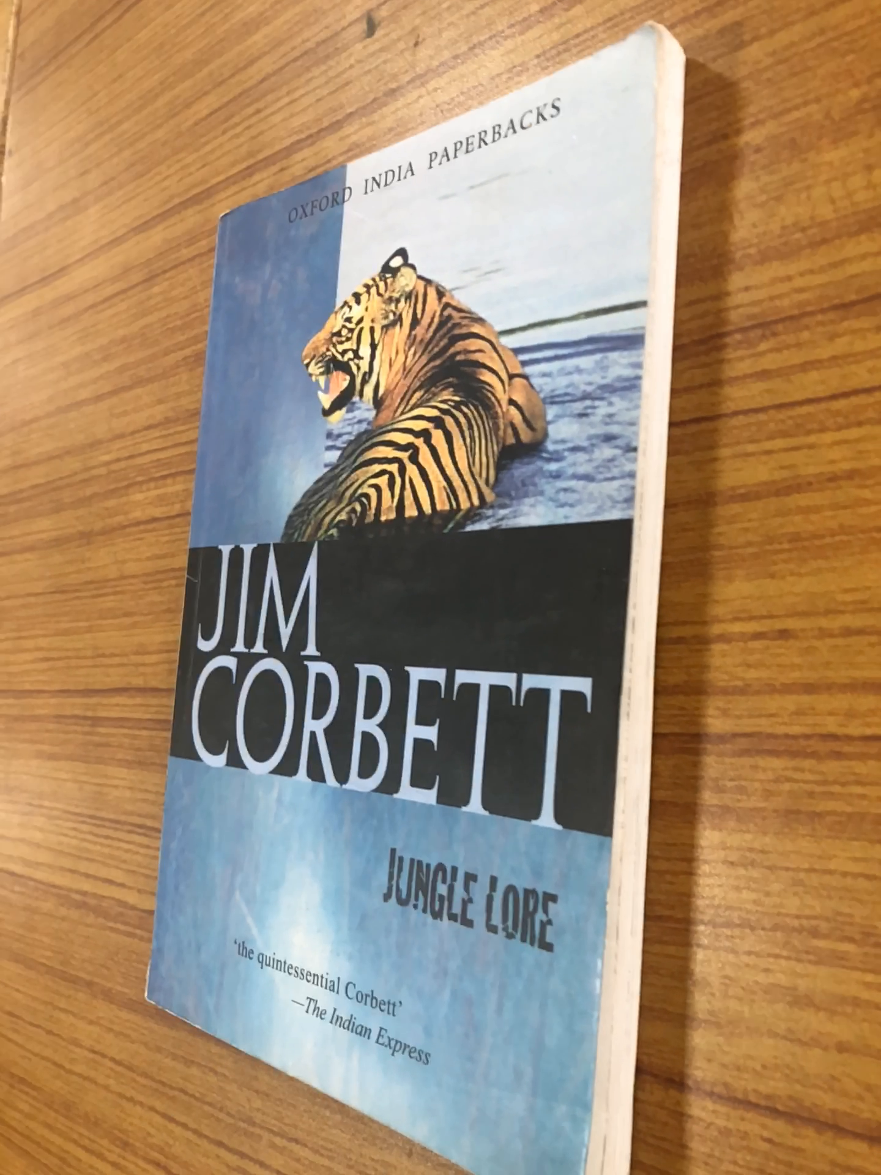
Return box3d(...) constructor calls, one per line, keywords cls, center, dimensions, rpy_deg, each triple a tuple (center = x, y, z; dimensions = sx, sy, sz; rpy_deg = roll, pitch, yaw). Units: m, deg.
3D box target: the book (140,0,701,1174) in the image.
box3d(cls="book", center=(-0.015, 0.001, 0.229), dimensions=(0.151, 0.010, 0.220), rpy_deg=(-1, 83, 42))
